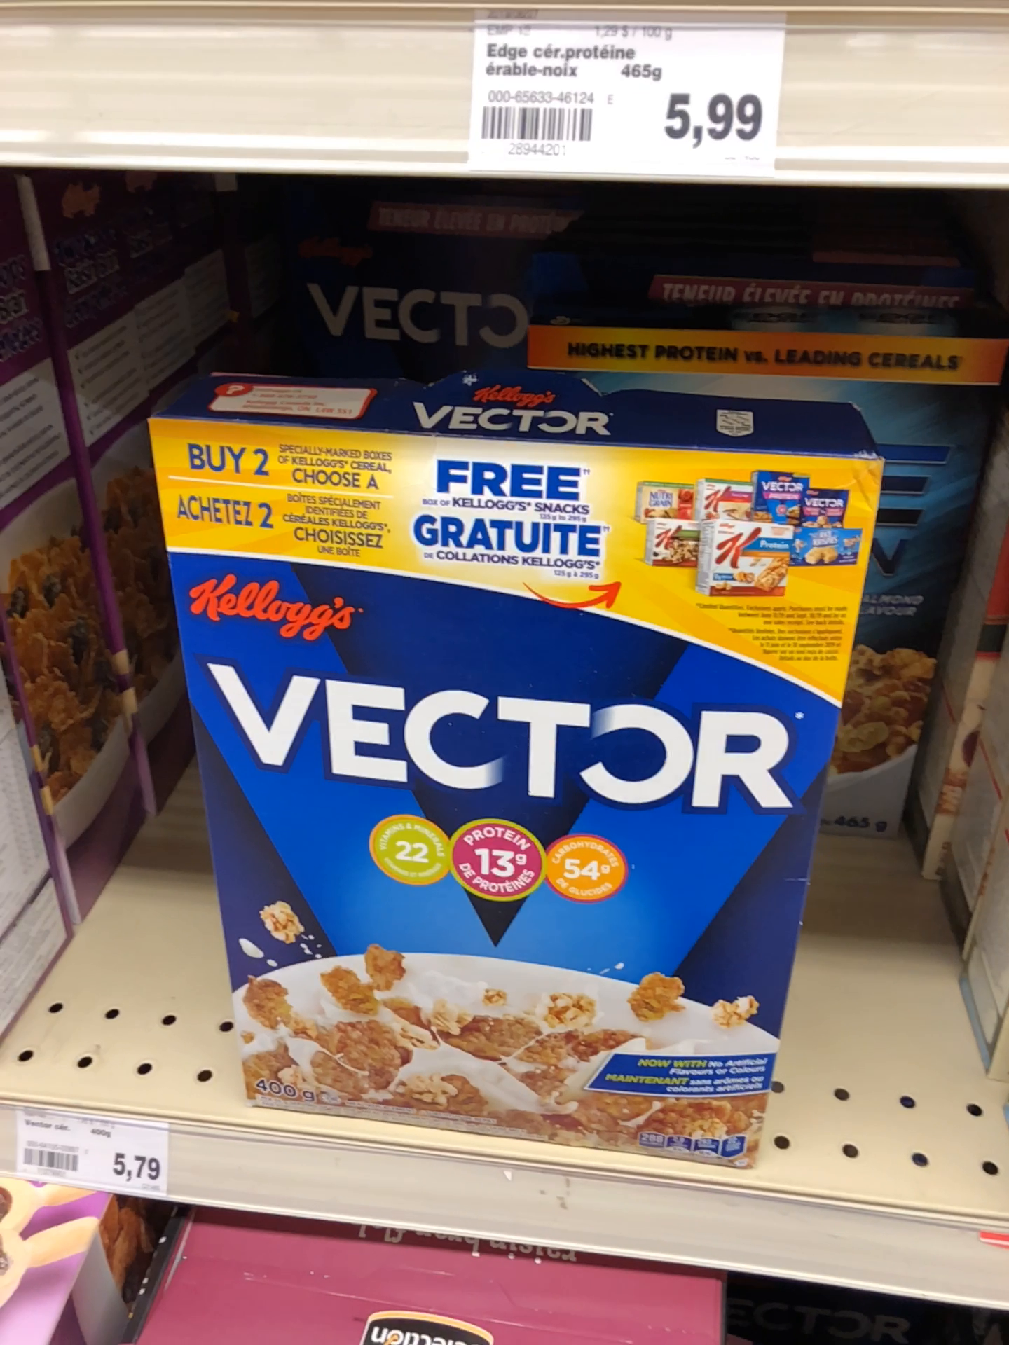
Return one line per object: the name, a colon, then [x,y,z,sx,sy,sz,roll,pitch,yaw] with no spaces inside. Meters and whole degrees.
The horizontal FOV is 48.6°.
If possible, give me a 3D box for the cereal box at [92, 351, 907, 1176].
cereal box: [-0.002,0.042,0.366,0.200,0.268,0.060,4,31,7]
